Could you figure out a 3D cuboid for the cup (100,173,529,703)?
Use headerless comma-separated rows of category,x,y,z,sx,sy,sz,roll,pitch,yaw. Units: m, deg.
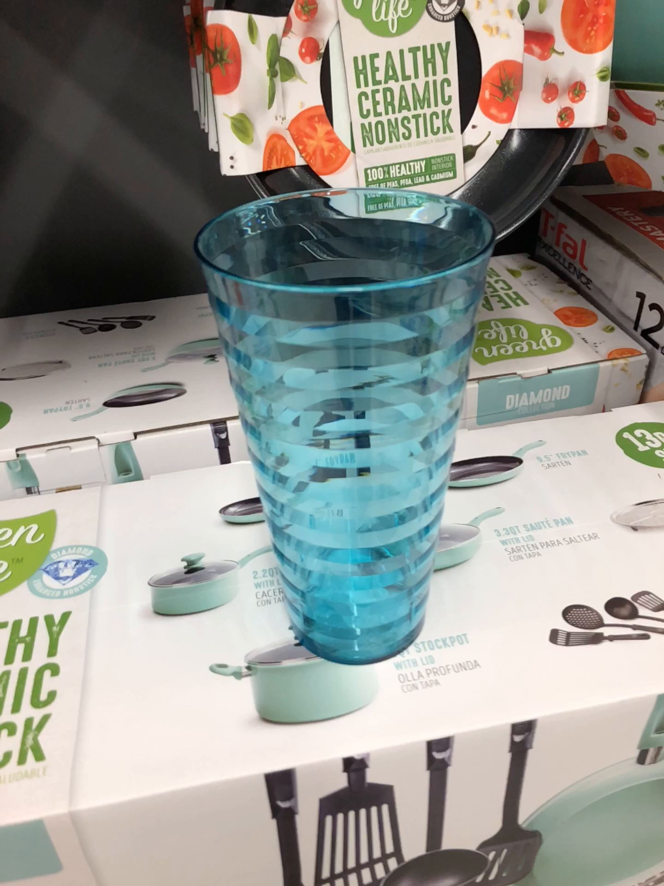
cup,0.004,-0.006,0.276,0.104,0.151,0.104,-2,36,1
